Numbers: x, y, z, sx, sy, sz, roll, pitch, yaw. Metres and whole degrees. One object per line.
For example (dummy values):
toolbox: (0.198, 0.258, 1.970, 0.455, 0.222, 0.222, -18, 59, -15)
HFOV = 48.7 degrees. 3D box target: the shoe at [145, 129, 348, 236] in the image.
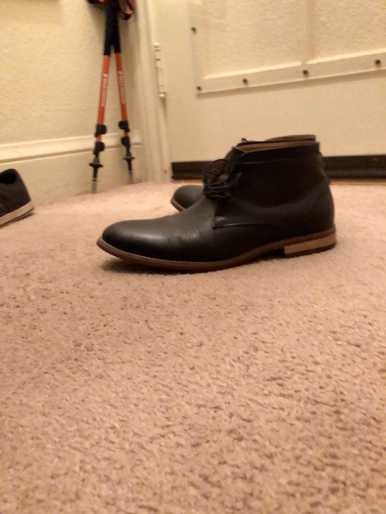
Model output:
shoe: (0.080, -0.128, 0.700, 0.302, 0.136, 0.117, 8, 22, 36)

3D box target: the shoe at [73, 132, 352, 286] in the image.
shoe: (0.023, -0.069, 0.524, 0.302, 0.136, 0.116, -8, 17, -9)
